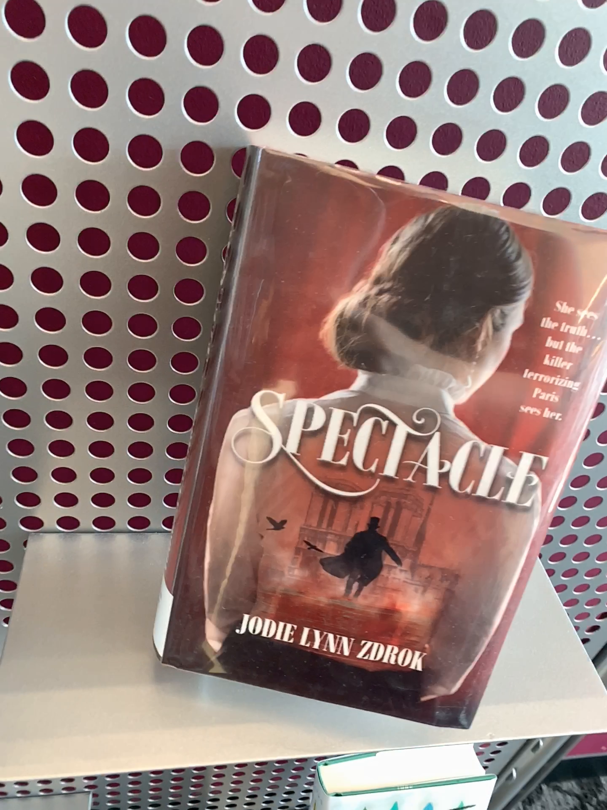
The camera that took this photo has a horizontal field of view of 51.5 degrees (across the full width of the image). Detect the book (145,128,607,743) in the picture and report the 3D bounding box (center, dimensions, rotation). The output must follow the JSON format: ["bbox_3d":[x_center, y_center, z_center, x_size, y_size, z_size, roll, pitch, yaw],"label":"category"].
[{"bbox_3d":[0.031,0.018,0.258,0.153,0.212,0.059,12,19,0],"label":"book"}]
